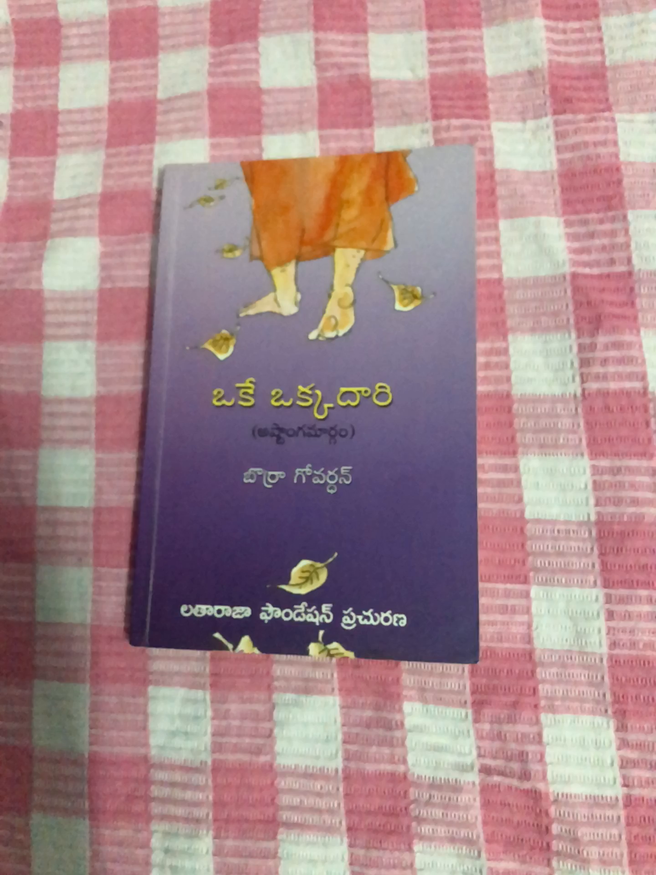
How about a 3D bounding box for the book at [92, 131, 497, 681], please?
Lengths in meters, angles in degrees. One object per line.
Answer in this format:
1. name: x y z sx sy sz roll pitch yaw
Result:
1. book: -0.010 -0.018 0.294 0.150 0.020 0.210 1 80 9
